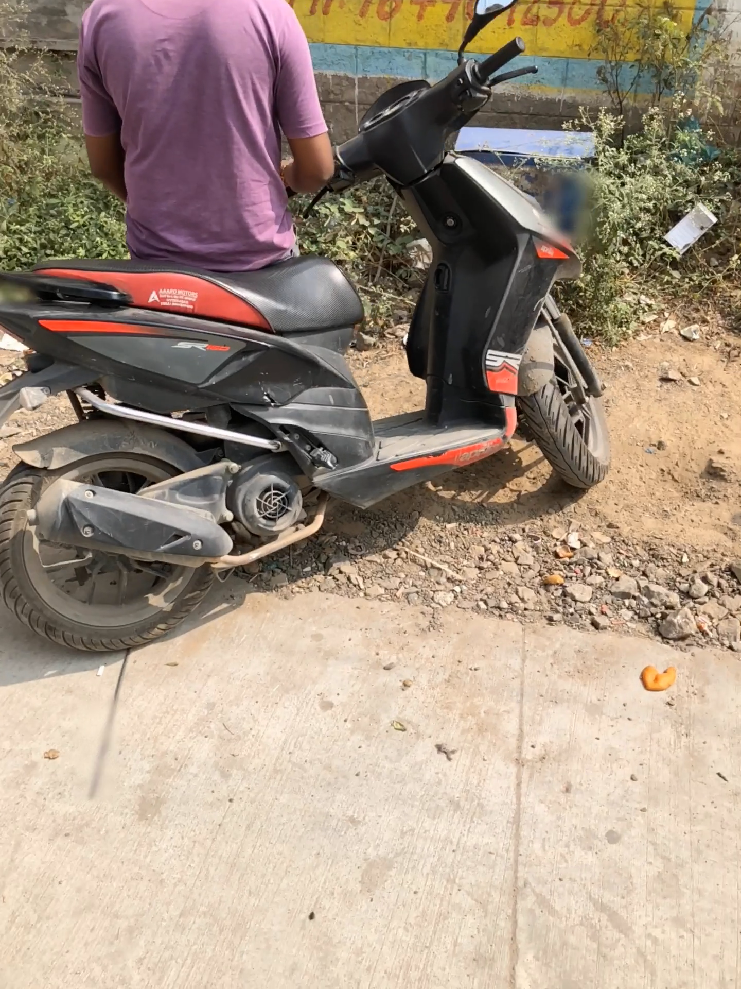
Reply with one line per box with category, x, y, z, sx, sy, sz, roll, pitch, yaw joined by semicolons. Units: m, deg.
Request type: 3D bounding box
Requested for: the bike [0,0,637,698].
bike;-0.236;-0.571;2.140;1.772;1.199;0.719;-25;42;-30
